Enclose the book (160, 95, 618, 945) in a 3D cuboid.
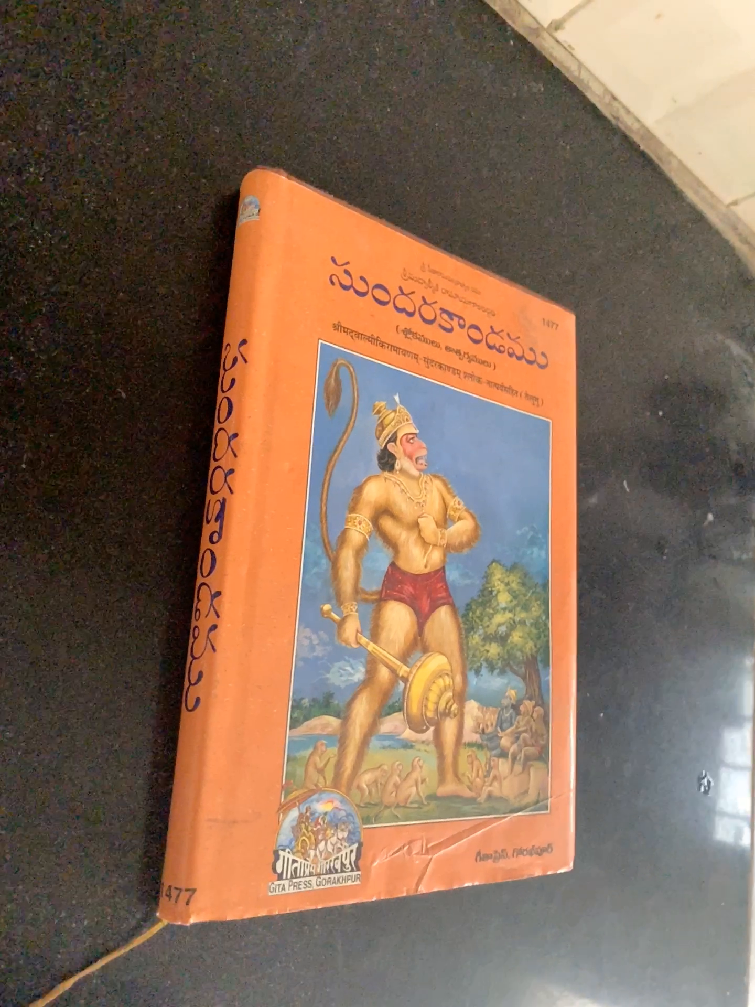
[{"bbox_3d":[0.027,0.008,0.344,0.201,0.040,0.300,13,74,-35],"label":"book"}]
